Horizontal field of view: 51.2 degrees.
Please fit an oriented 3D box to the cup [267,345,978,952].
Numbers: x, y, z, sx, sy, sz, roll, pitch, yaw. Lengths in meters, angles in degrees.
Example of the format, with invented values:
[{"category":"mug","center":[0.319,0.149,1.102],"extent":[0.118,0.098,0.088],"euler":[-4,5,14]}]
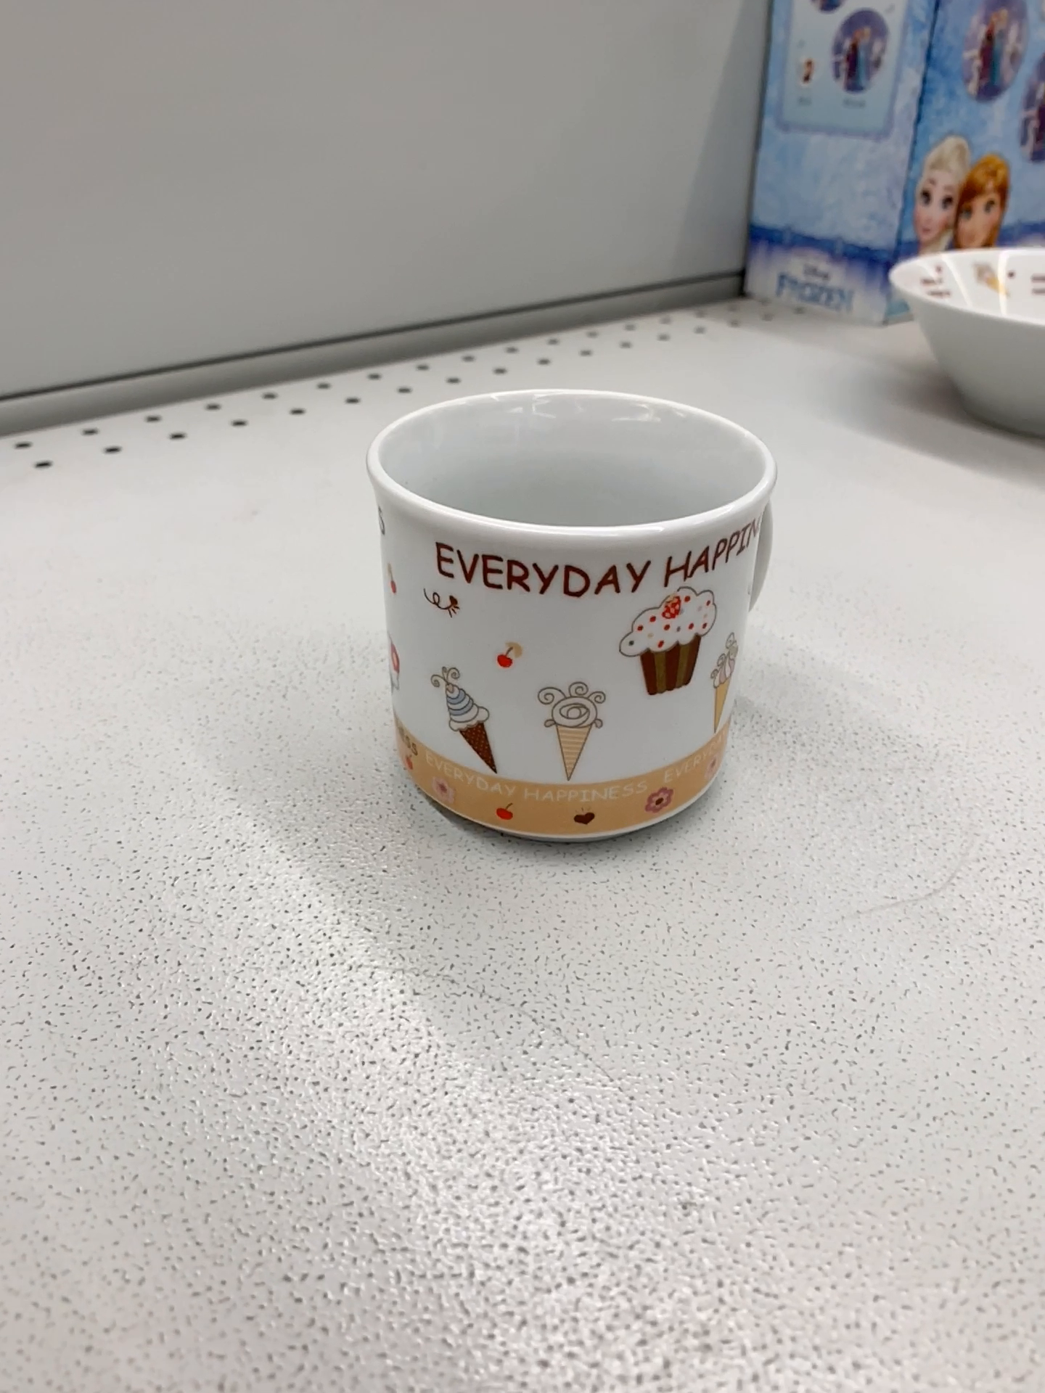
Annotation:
[{"category":"cup","center":[0.019,-0.020,0.224],"extent":[0.109,0.069,0.079],"euler":[-22,39,-30]}]
